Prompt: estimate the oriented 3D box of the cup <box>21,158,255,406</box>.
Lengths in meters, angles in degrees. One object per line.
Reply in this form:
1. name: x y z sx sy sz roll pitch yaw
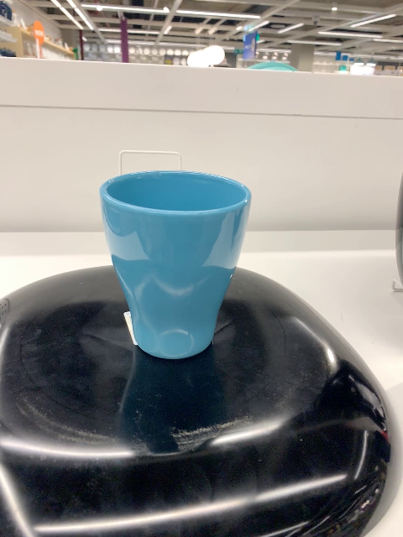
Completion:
1. cup: -0.024 -0.007 0.268 0.100 0.100 0.141 6 24 8
